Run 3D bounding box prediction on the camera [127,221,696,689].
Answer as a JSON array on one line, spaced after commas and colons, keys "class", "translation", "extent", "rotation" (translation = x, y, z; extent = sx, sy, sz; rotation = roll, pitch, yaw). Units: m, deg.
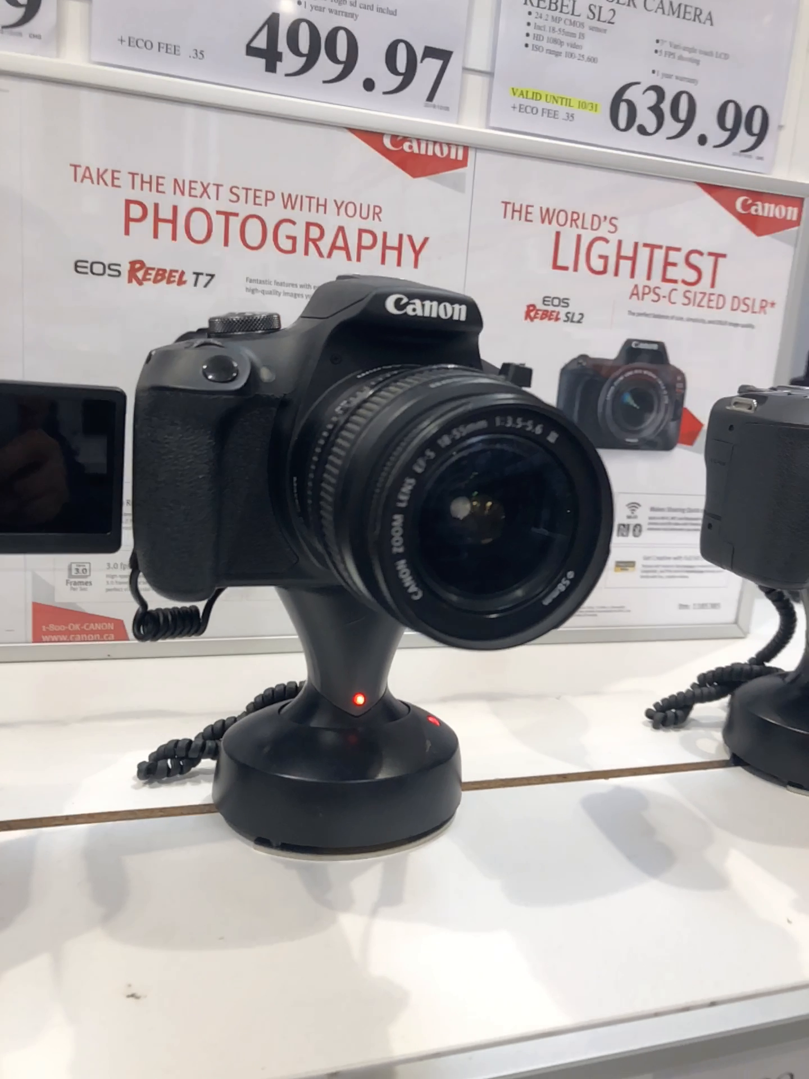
[{"class": "camera", "translation": [-0.015, -0.031, 0.273], "extent": [0.130, 0.100, 0.141], "rotation": [1, 13, -17]}]
